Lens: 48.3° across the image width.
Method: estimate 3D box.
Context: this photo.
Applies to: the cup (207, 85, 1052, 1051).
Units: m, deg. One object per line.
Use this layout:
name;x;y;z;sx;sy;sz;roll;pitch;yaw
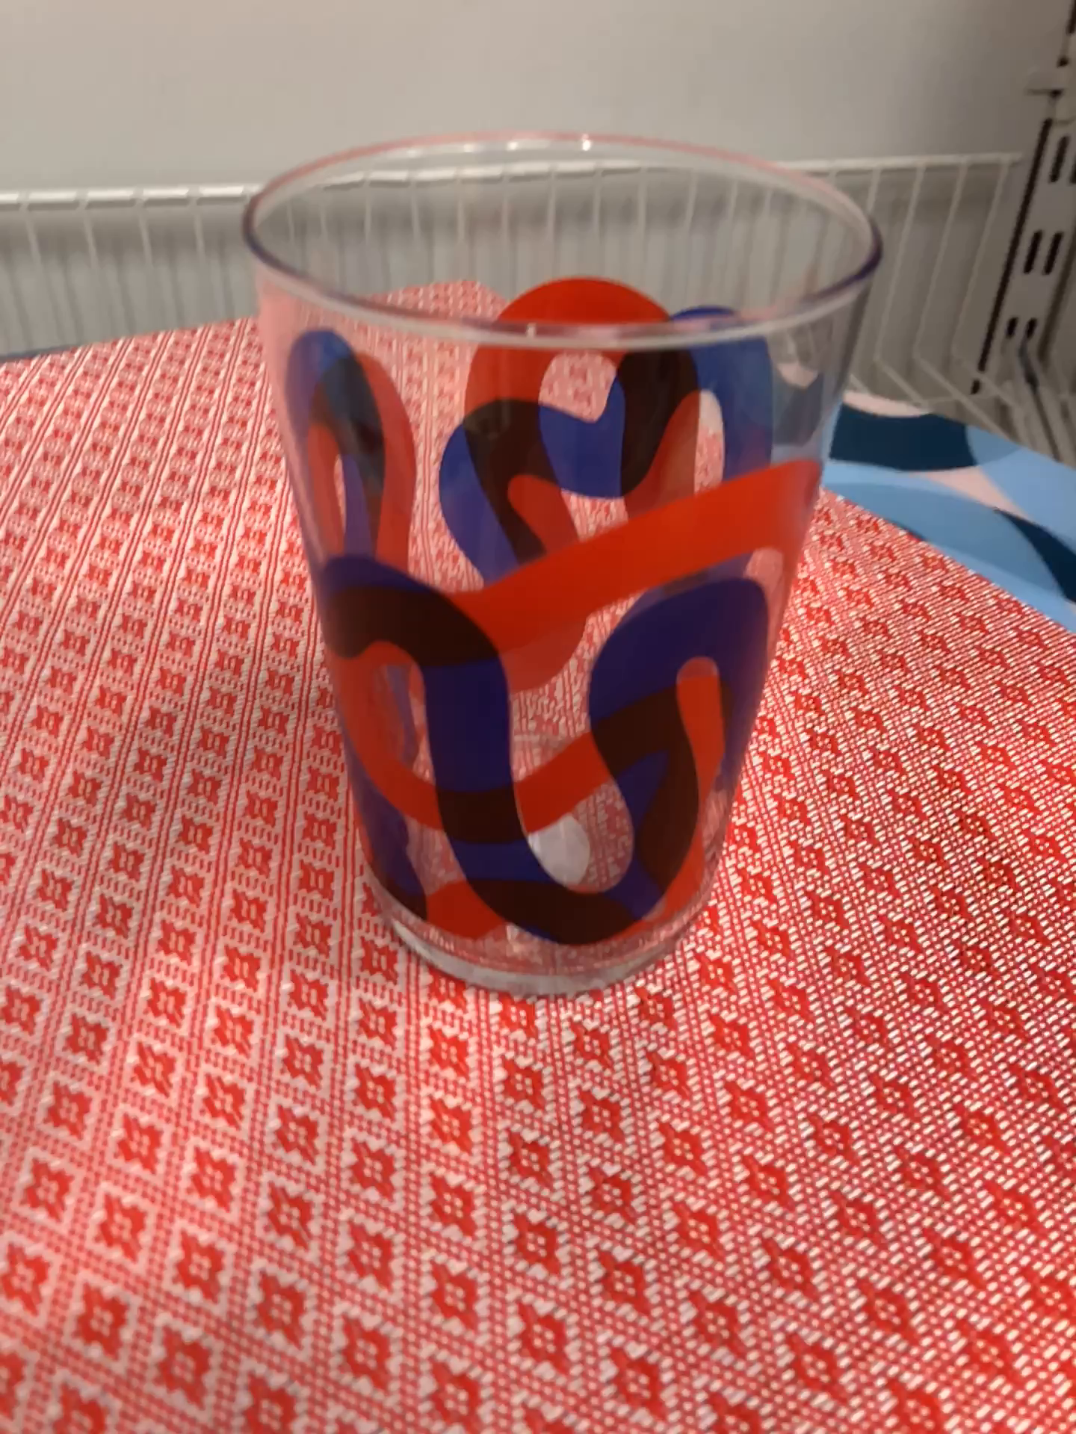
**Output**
cup;0.002;-0.027;0.198;0.090;0.120;0.090;1;39;-1
